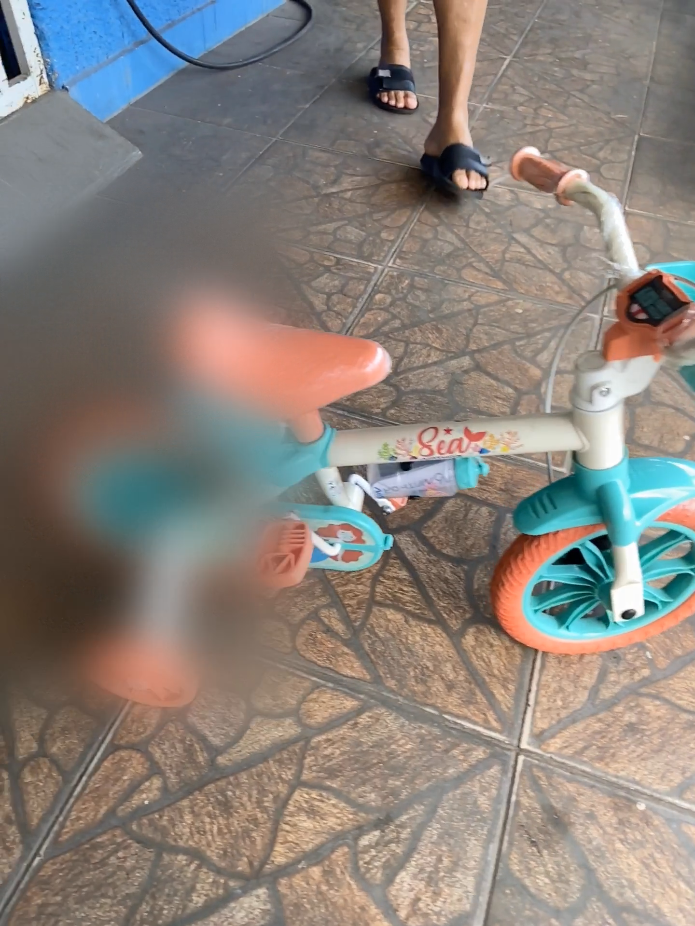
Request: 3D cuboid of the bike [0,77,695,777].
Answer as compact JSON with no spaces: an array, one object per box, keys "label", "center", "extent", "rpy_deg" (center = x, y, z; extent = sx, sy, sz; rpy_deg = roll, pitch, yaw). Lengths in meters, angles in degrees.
[{"label":"bike","center":[0.045,-0.040,0.780],"extent":[0.806,0.534,0.501],"rpy_deg":[4,47,4]}]
